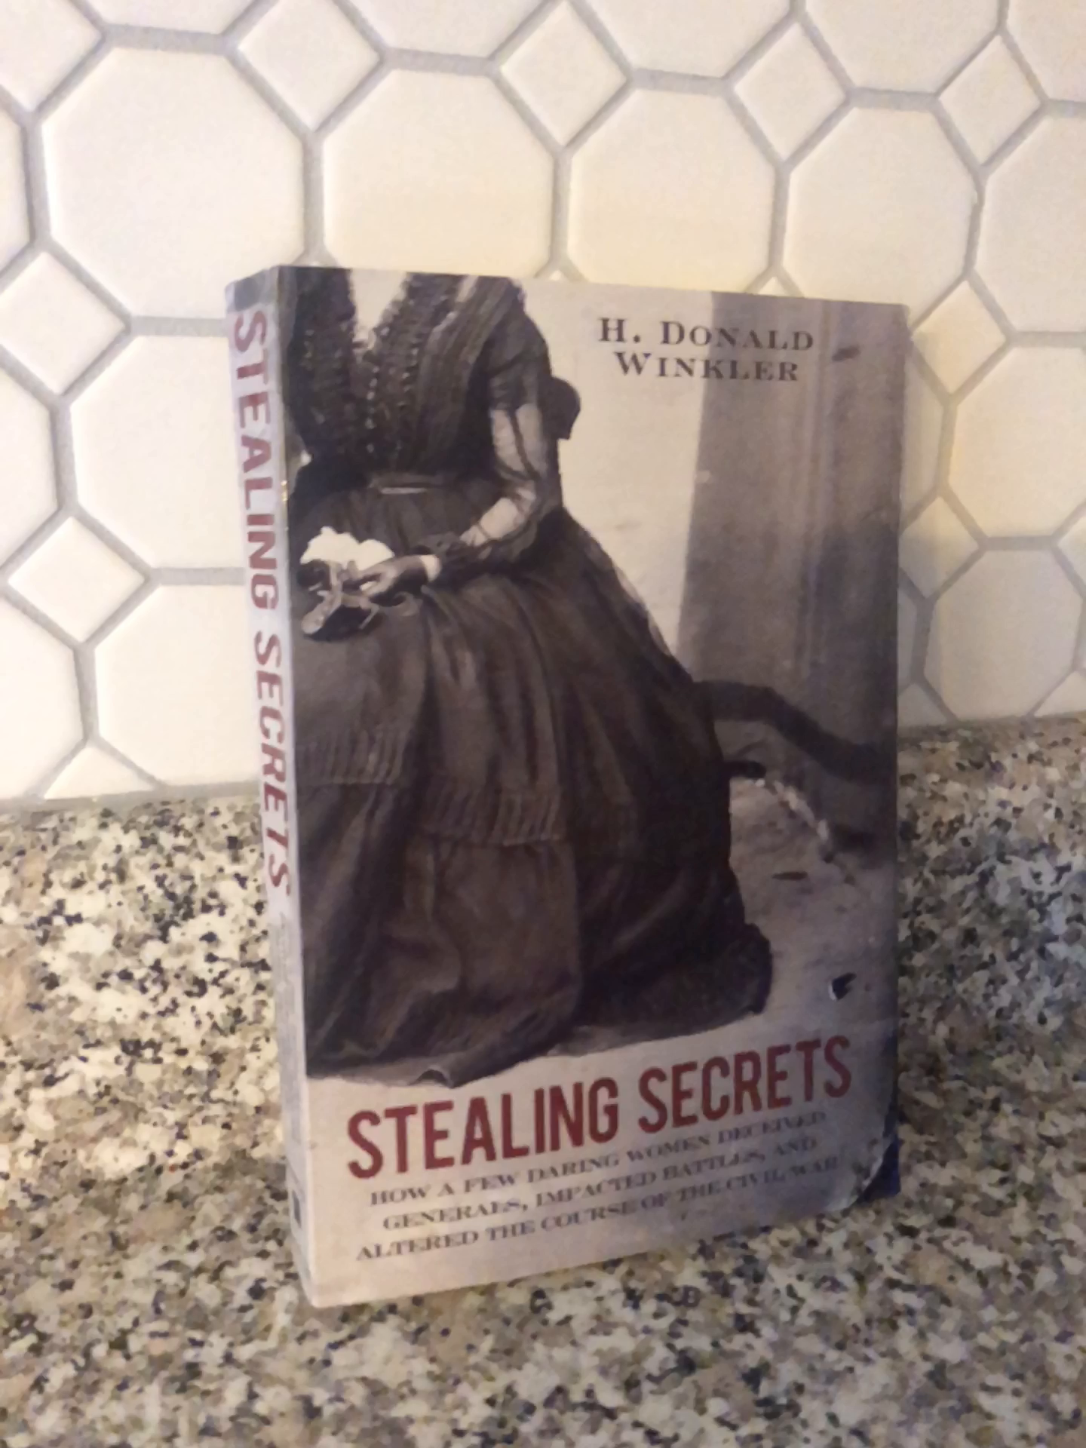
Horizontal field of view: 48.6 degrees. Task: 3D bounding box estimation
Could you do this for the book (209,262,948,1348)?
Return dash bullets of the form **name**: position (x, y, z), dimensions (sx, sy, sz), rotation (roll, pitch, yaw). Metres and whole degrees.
- **book**: position (0.013, 0.014, 0.286), dimensions (0.162, 0.226, 0.041), rotation (-5, 9, -16)
